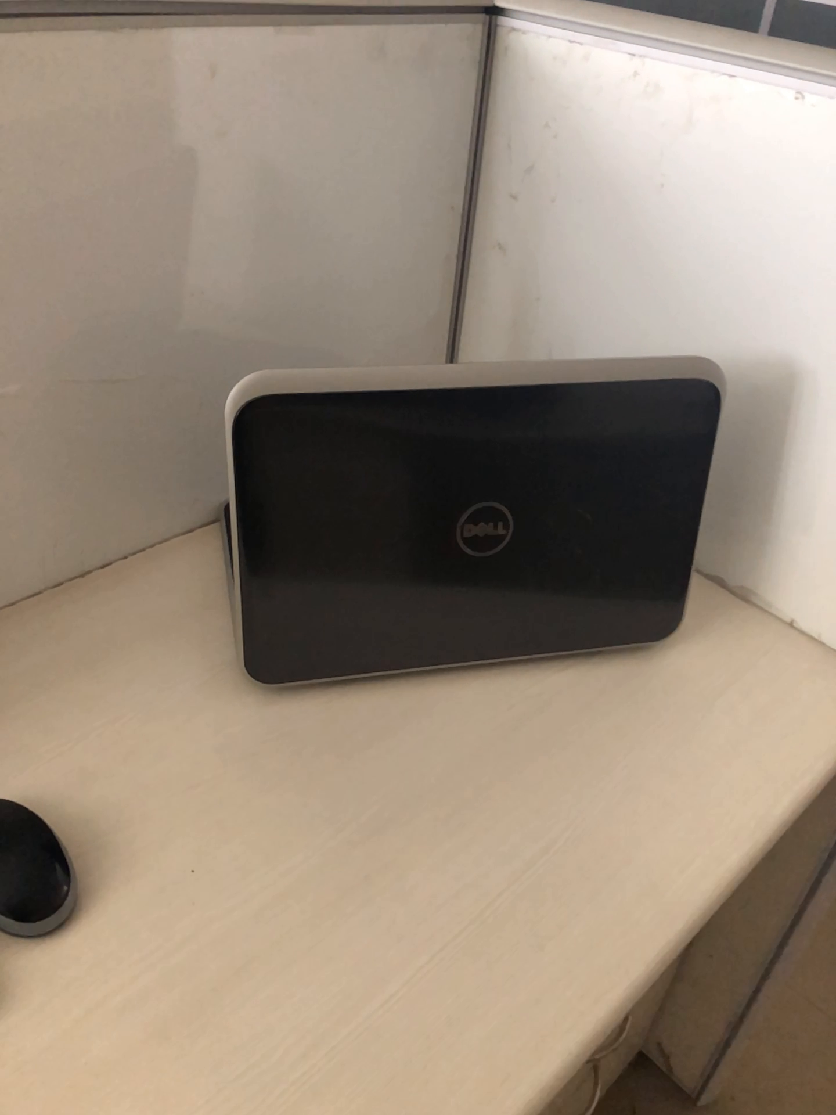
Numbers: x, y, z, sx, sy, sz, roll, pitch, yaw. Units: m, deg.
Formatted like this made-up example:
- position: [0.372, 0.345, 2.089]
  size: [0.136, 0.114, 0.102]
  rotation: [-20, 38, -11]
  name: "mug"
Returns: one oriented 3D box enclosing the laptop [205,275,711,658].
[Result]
- position: [0.008, -0.090, 0.761]
  size: [0.333, 0.217, 0.240]
  rotation: [-5, 35, -17]
  name: "laptop"
